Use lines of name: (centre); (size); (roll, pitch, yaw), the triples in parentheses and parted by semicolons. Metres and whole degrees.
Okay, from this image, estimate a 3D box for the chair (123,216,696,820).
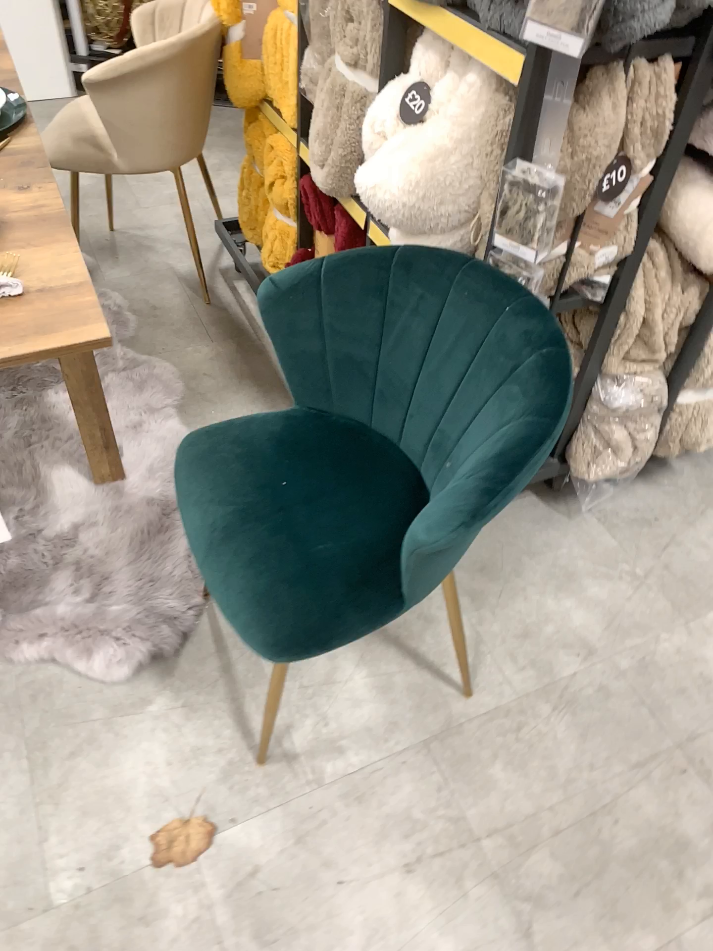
chair: (0.020, 0.065, 1.196); (0.570, 0.692, 0.551); (-16, 49, -19)
